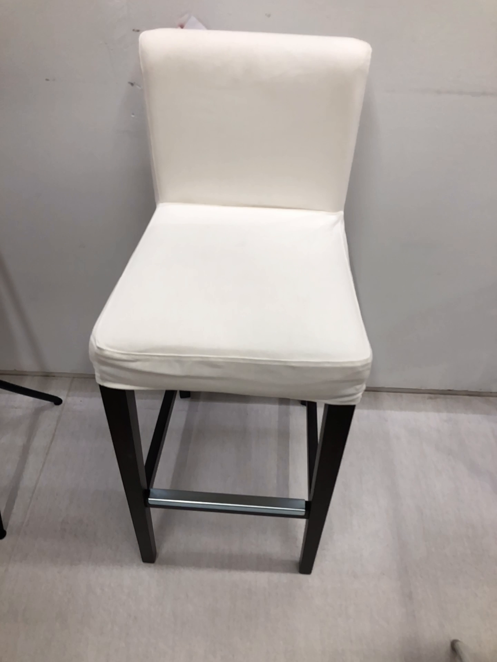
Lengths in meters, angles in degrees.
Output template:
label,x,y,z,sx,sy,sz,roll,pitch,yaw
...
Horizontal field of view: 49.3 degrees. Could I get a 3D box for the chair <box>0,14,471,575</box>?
label,x,y,z,sx,sy,sz,roll,pitch,yaw
chair,-0.015,-0.010,0.981,0.440,0.854,0.533,3,45,1
